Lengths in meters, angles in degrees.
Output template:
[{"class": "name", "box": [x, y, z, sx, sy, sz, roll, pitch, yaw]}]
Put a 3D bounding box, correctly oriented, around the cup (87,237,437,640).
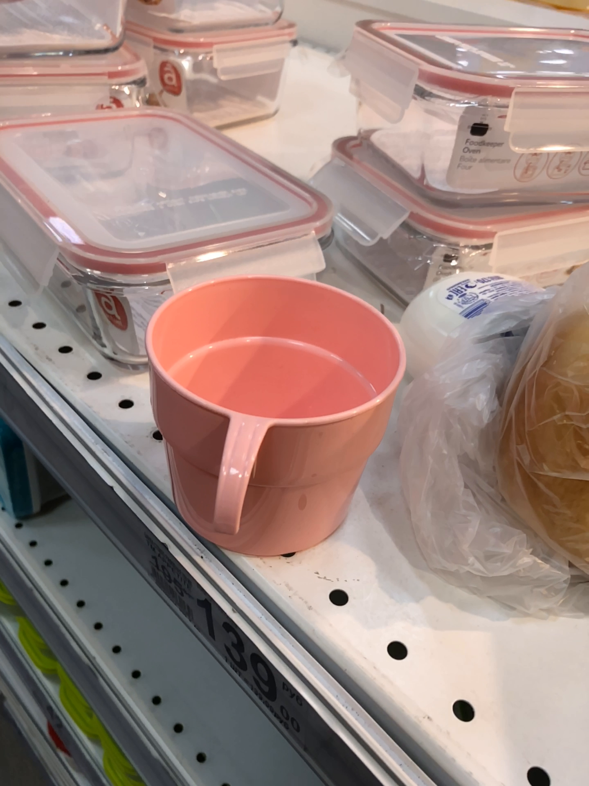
[{"class": "cup", "box": [-0.011, 0.009, 0.216, 0.081, 0.070, 0.111, 5, 39, -4]}]
